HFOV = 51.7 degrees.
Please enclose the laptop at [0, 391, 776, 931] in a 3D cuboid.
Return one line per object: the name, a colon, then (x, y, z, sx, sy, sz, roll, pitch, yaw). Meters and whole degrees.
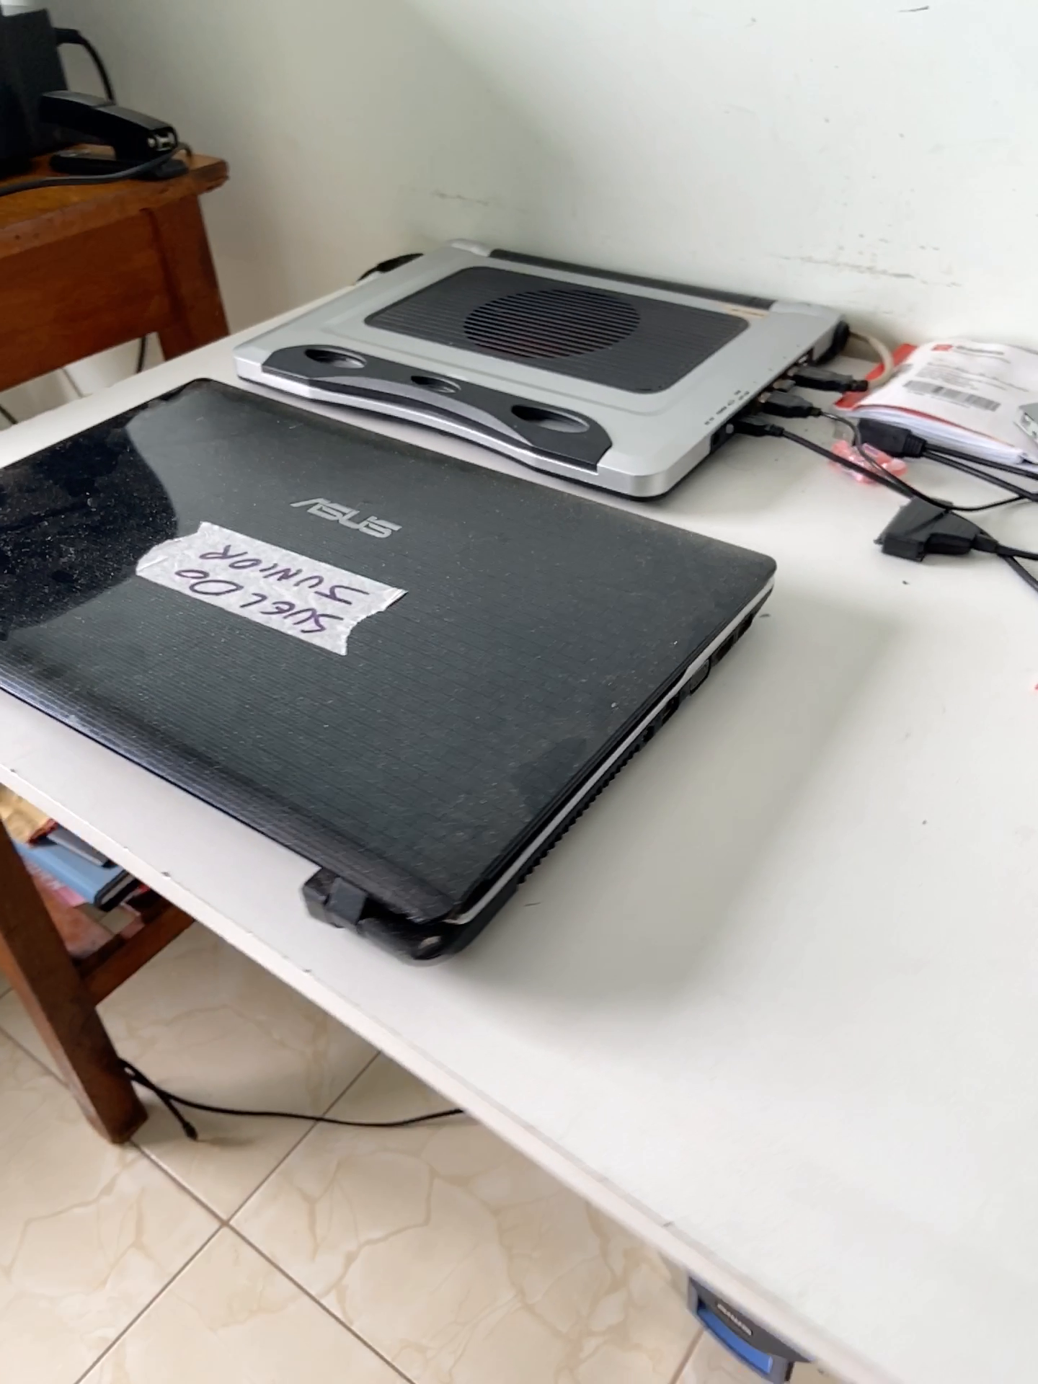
laptop: (-0.109, -0.054, 0.466, 0.363, 0.001, 0.237, 22, 45, 28)
